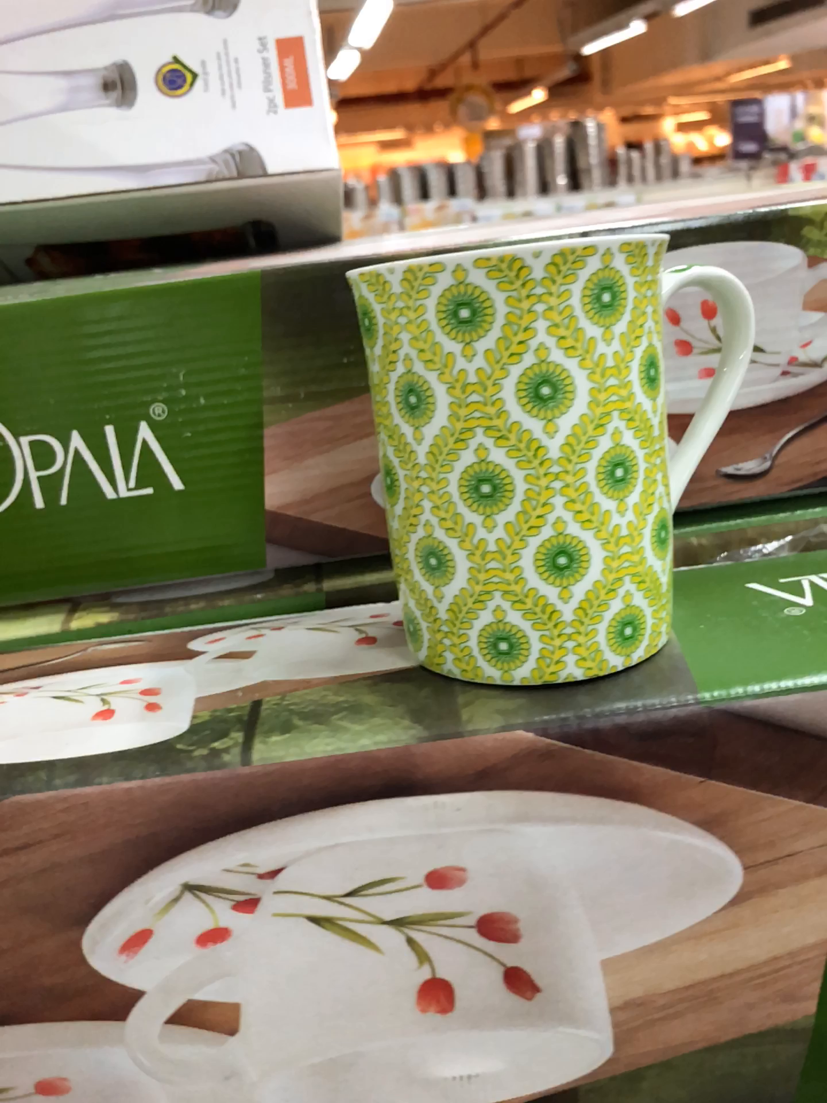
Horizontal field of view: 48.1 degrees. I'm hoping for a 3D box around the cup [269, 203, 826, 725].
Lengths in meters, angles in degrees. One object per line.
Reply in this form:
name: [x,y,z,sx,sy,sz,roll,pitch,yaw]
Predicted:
cup: [0.039,-0.028,0.224,0.110,0.090,0.080,-14,13,-30]
